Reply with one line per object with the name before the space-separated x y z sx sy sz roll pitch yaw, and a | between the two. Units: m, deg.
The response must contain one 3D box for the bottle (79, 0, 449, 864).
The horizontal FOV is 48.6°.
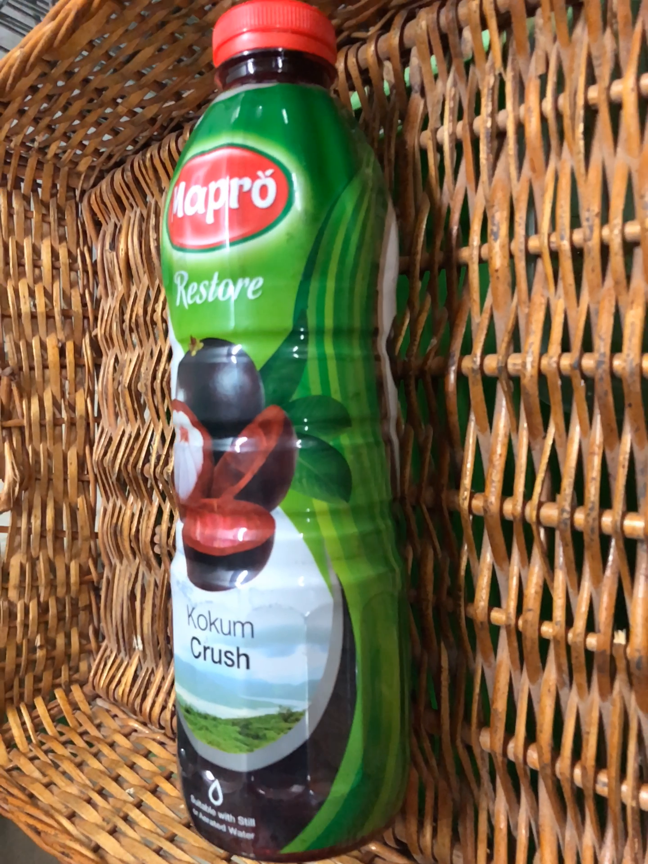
bottle | -0.018 -0.013 0.228 0.080 0.080 0.270 0 91 40
